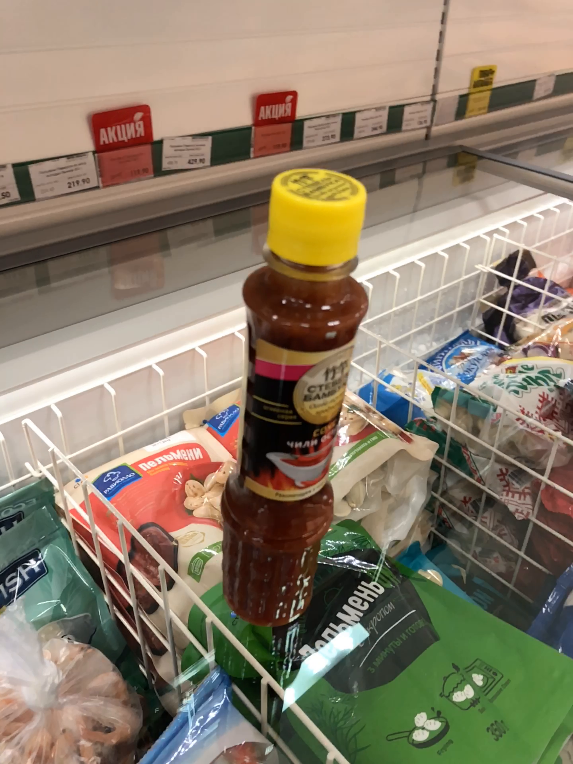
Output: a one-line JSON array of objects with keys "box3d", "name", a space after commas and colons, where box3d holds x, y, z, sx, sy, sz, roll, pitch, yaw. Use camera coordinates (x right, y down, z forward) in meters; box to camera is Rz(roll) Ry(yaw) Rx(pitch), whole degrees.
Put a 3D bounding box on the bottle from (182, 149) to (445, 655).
[{"box3d": [0.002, 0.018, 0.260, 0.060, 0.199, 0.060, 3, 36, -2], "name": "bottle"}]
